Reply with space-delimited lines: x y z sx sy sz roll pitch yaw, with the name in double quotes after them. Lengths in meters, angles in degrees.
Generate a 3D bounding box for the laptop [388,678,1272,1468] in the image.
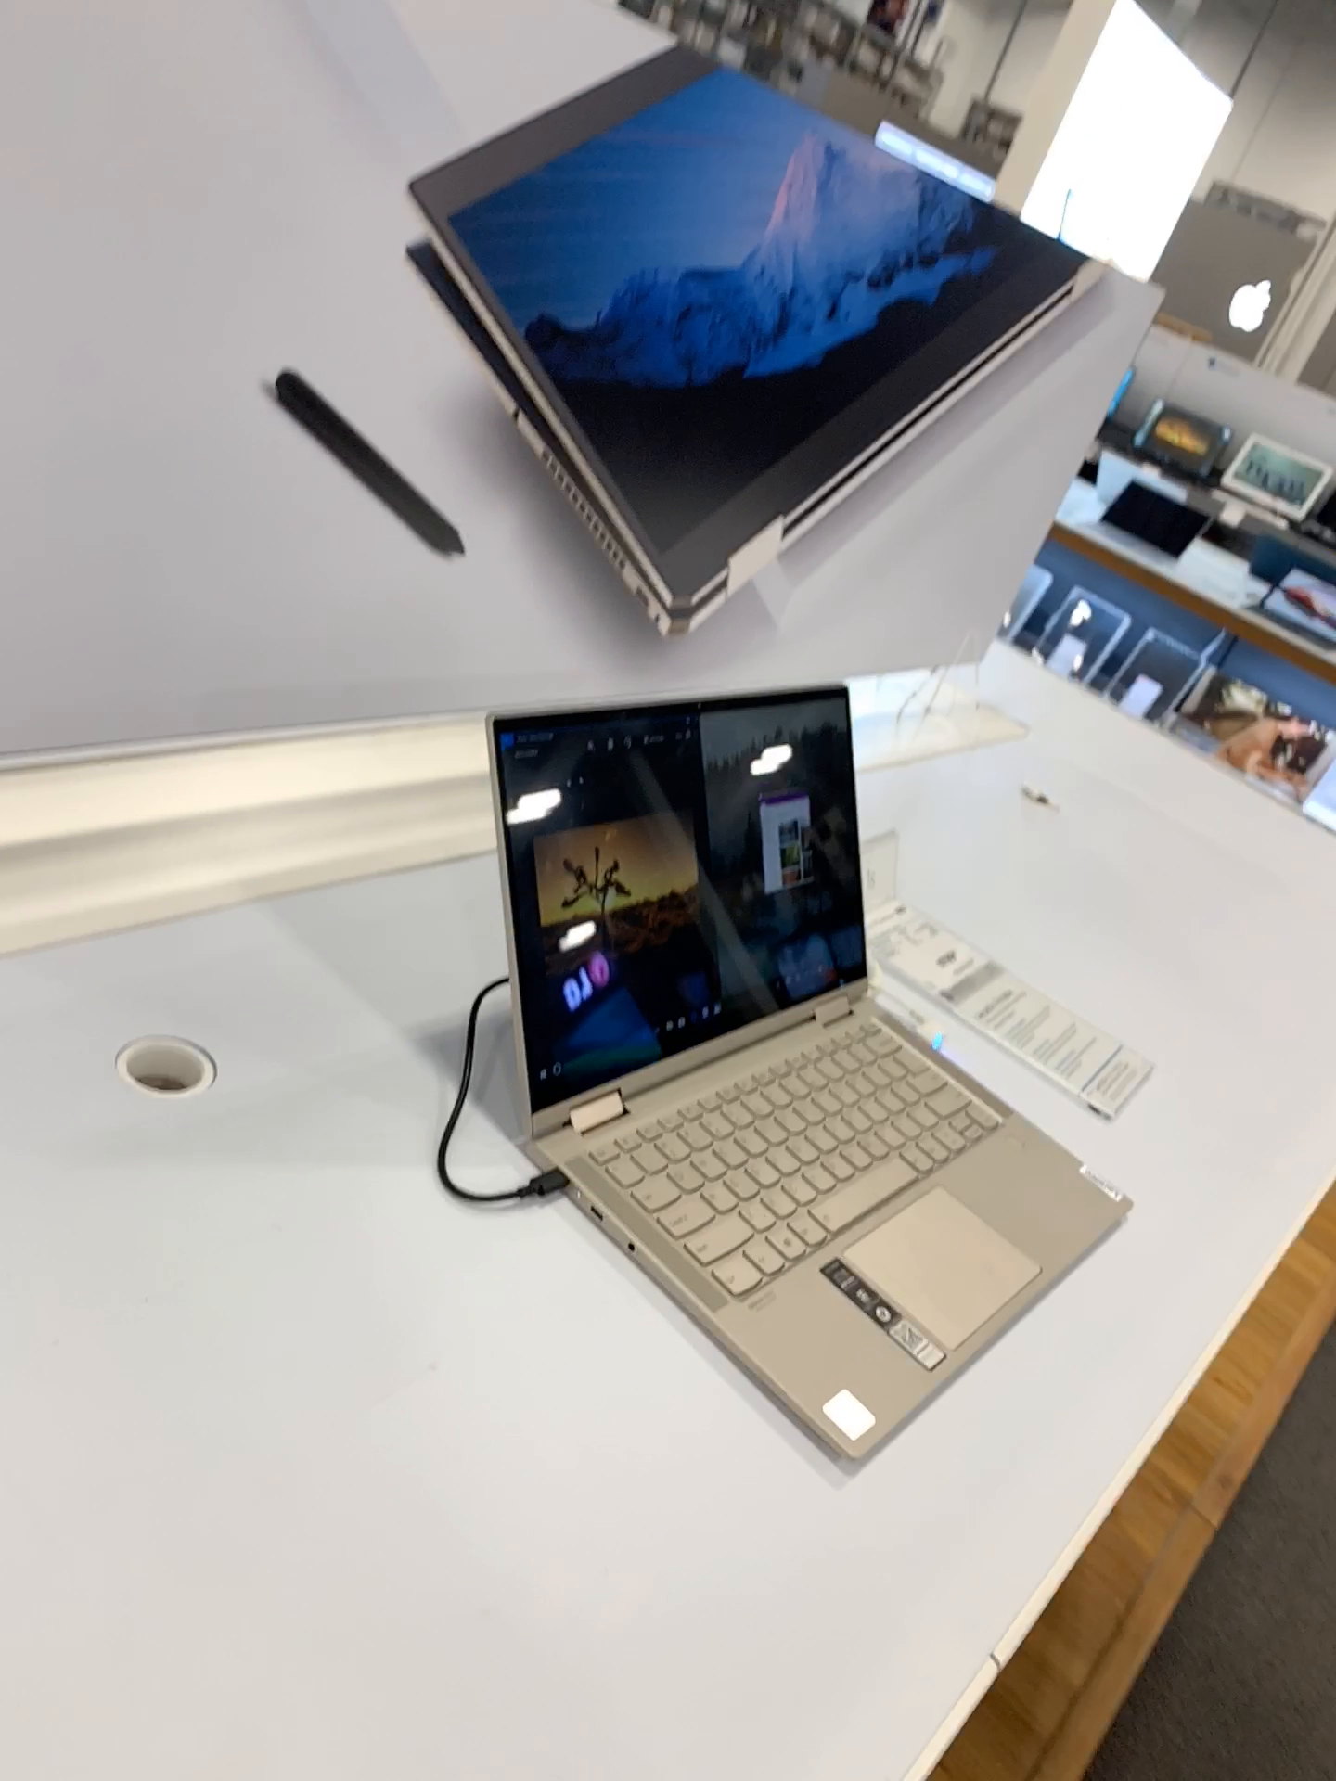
0.089 0.053 0.736 0.329 0.170 0.310 39 31 27 "laptop"
